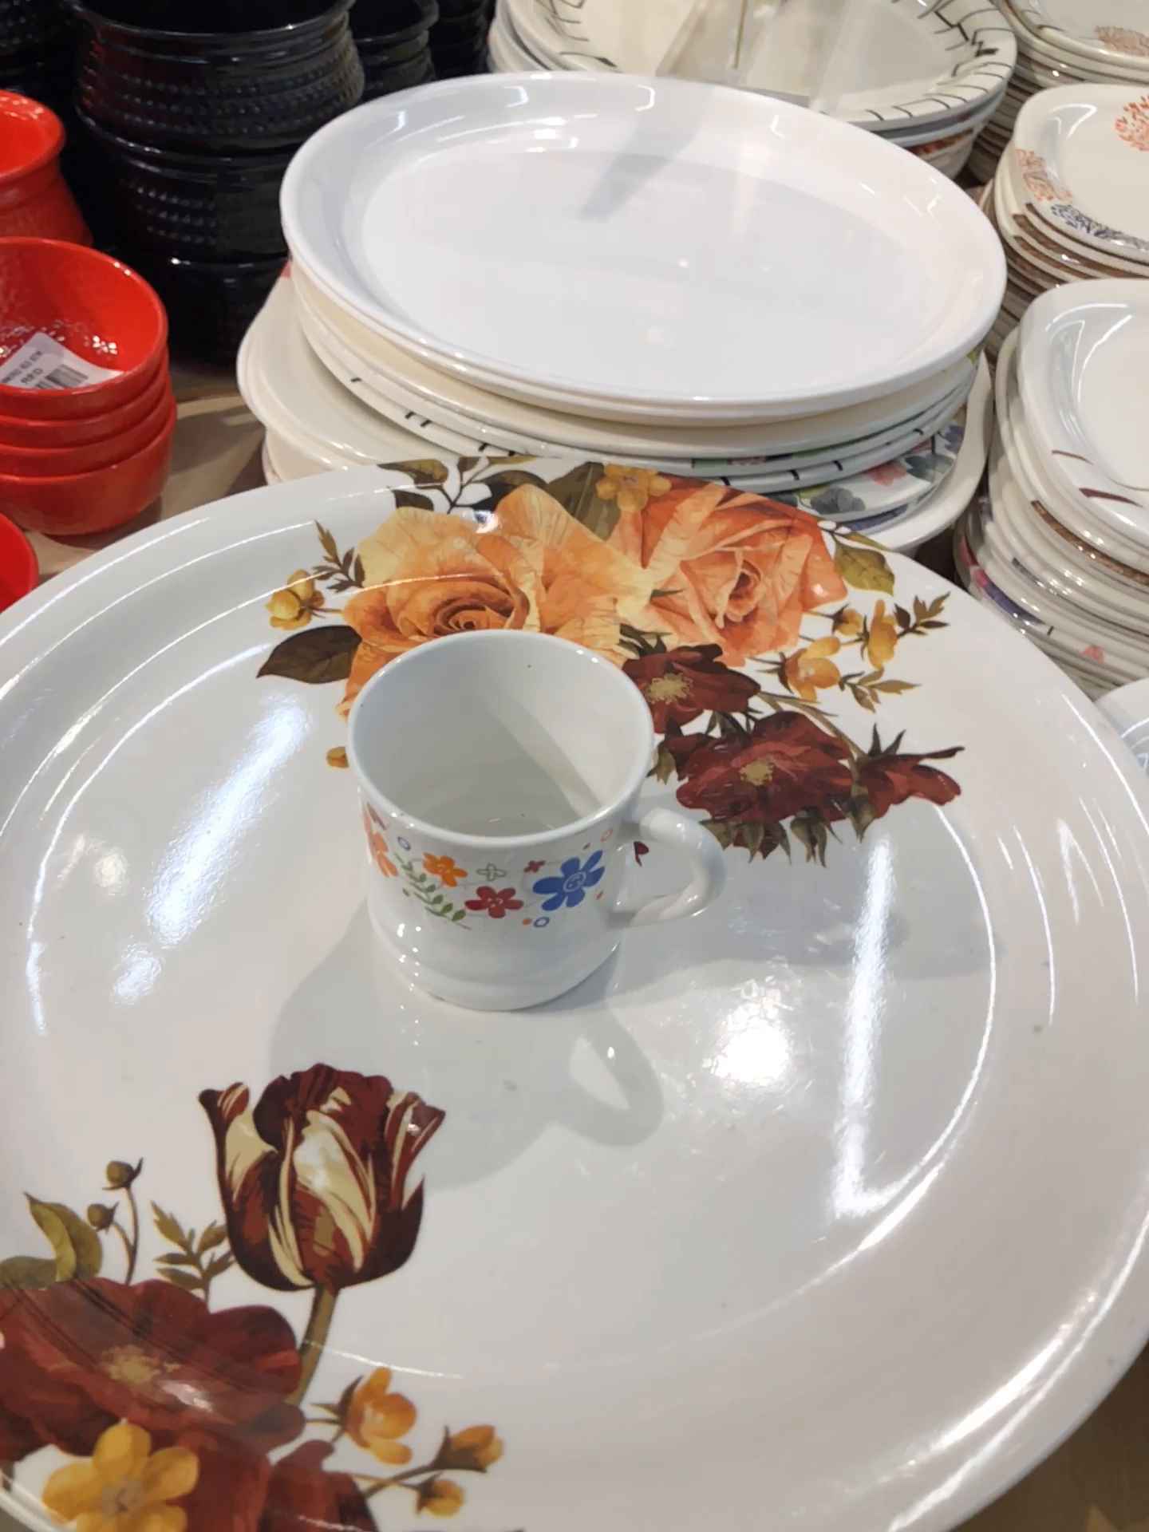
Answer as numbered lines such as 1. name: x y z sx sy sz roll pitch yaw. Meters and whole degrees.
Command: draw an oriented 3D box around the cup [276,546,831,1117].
1. cup: -0.004 0.013 0.284 0.090 0.070 0.070 25 51 17
